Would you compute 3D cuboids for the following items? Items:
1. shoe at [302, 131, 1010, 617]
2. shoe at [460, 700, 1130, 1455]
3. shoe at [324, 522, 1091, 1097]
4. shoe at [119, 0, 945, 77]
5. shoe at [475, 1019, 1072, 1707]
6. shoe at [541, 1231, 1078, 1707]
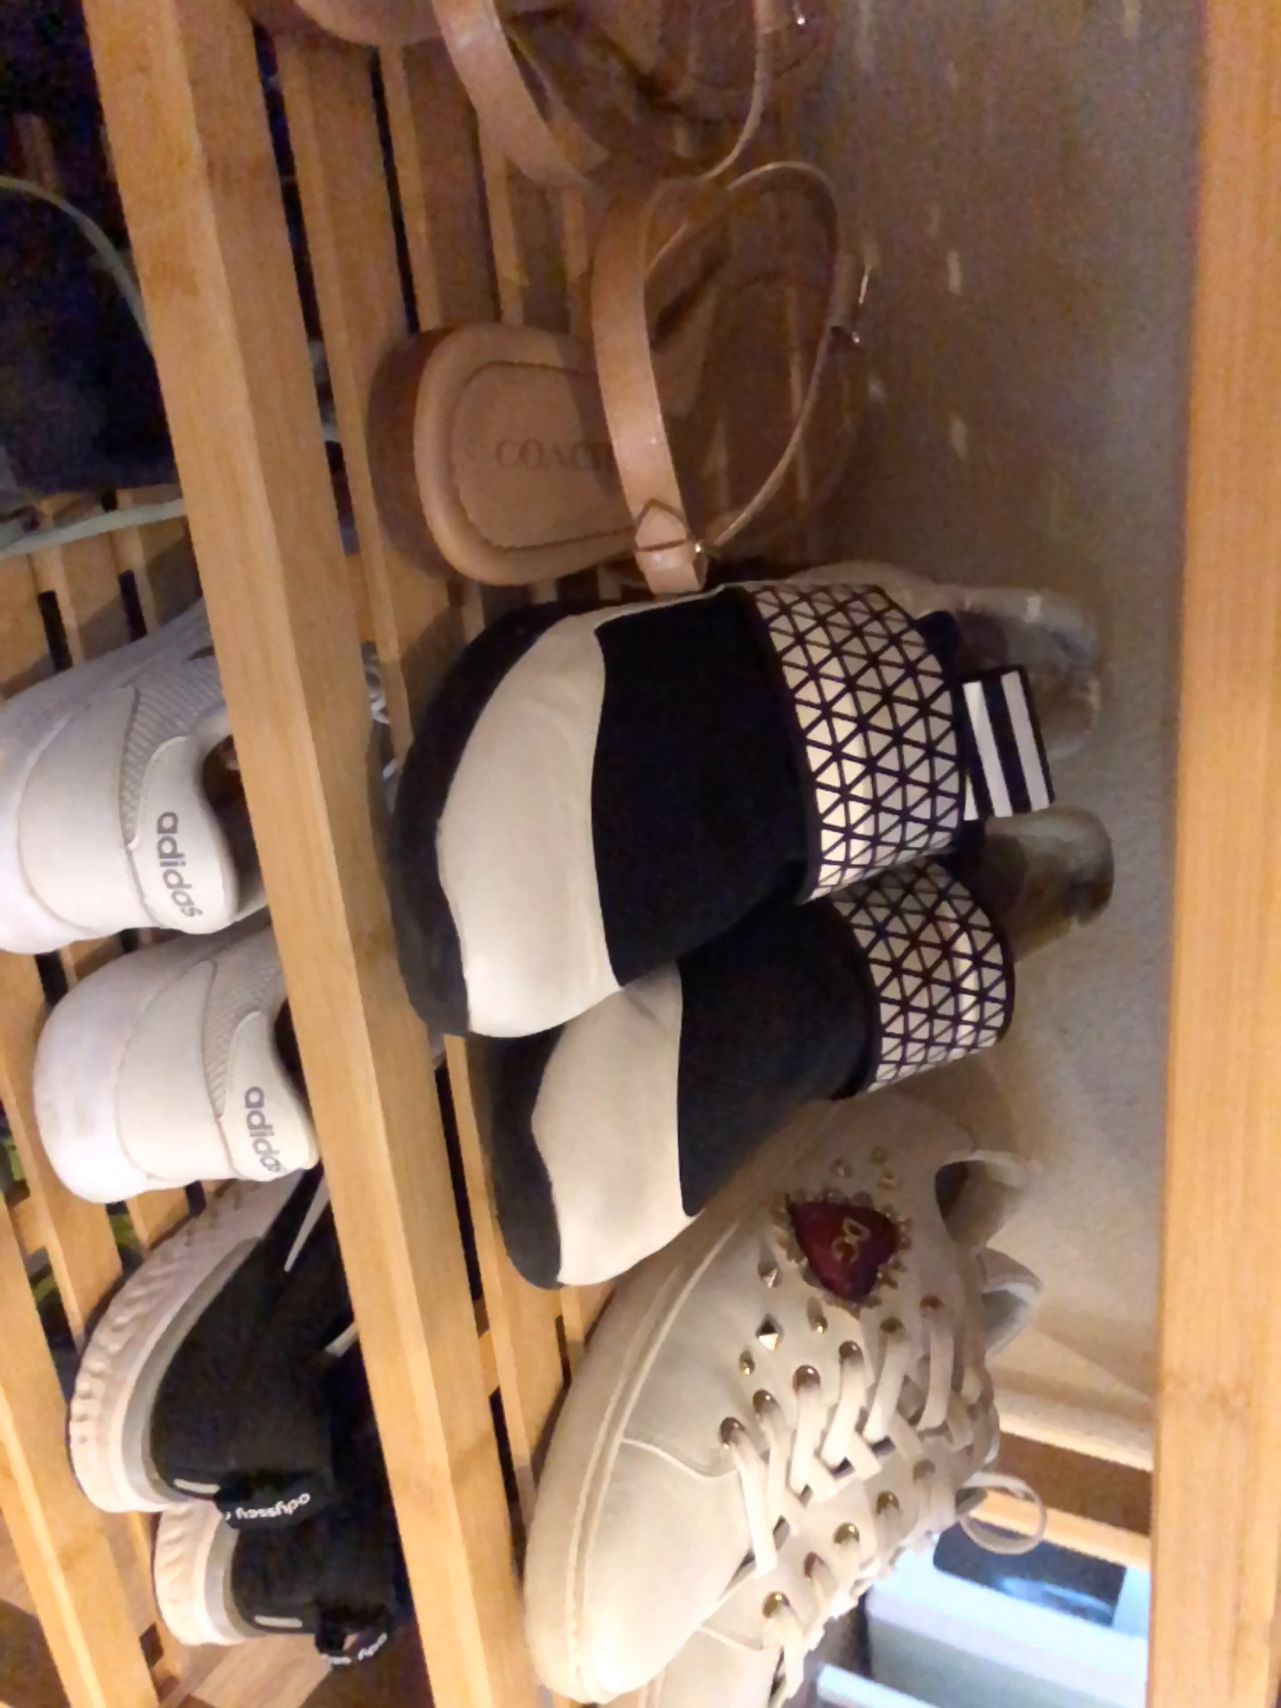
[{"bbox_3d":[0.029,-0.148,0.428,0.263,0.081,0.099,-33,123,-52],"label":"shoe"},{"bbox_3d":[0.072,0.042,0.448,0.281,0.076,0.097,-34,124,-48],"label":"shoe"},{"bbox_3d":[0.042,-0.033,0.397,0.263,0.068,0.086,-26,117,-48],"label":"shoe"},{"bbox_3d":[0.000,-0.282,0.387,0.263,0.074,0.092,-33,123,-52],"label":"shoe"},{"bbox_3d":[0.064,0.166,0.484,0.257,0.068,0.093,-35,125,-43],"label":"shoe"},{"bbox_3d":[0.076,0.254,0.509,0.243,0.068,0.093,-35,125,-43],"label":"shoe"}]
